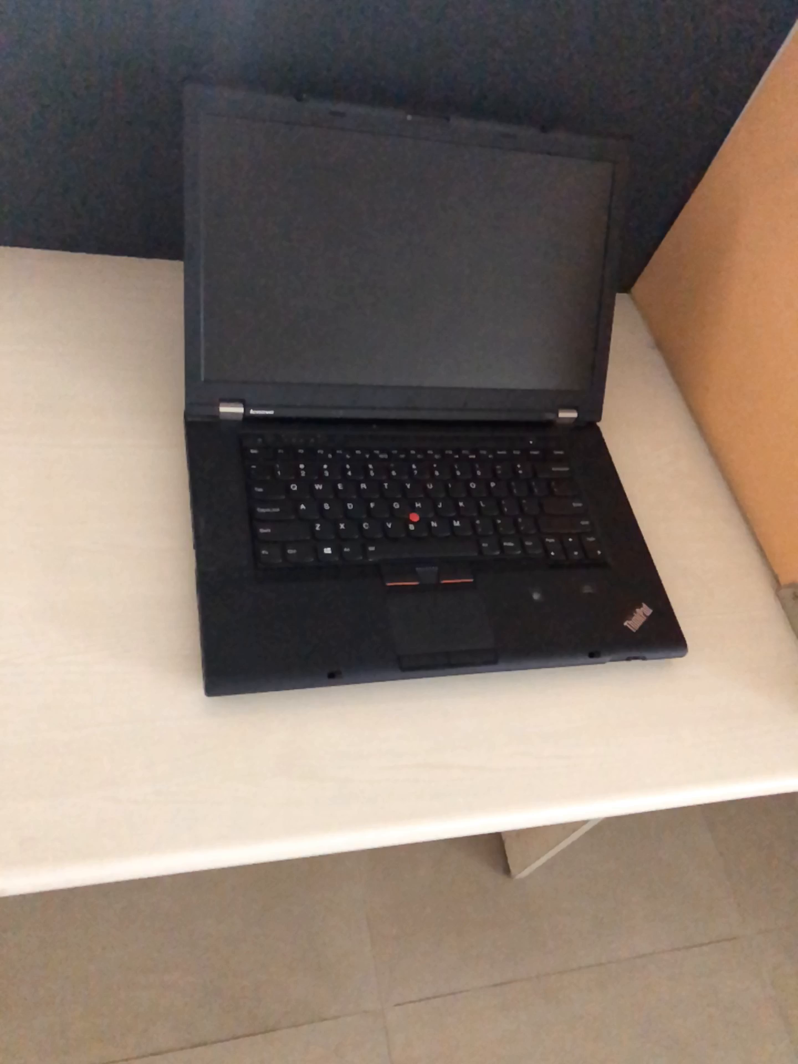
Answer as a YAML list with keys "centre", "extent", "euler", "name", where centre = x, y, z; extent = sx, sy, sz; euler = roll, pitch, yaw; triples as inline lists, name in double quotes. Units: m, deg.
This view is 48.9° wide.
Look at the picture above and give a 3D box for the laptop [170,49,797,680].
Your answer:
- centre: [0.033, -0.121, 0.645]
  extent: [0.354, 0.185, 0.380]
  euler: [-2, 58, -19]
  name: "laptop"
